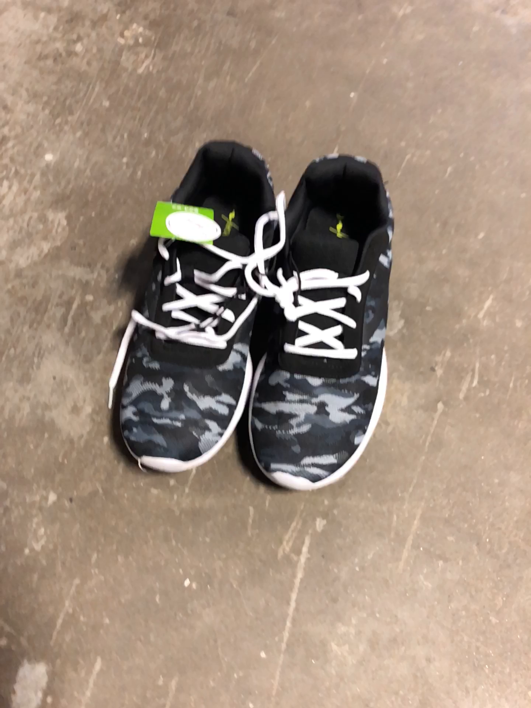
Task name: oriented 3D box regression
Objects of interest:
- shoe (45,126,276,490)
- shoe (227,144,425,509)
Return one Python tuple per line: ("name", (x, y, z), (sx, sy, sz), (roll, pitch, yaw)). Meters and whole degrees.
("shoe", (-0.067, -0.041, 0.495), (0.110, 0.139, 0.261), (8, 61, 4))
("shoe", (0.054, -0.025, 0.497), (0.120, 0.139, 0.261), (8, 61, 4))
